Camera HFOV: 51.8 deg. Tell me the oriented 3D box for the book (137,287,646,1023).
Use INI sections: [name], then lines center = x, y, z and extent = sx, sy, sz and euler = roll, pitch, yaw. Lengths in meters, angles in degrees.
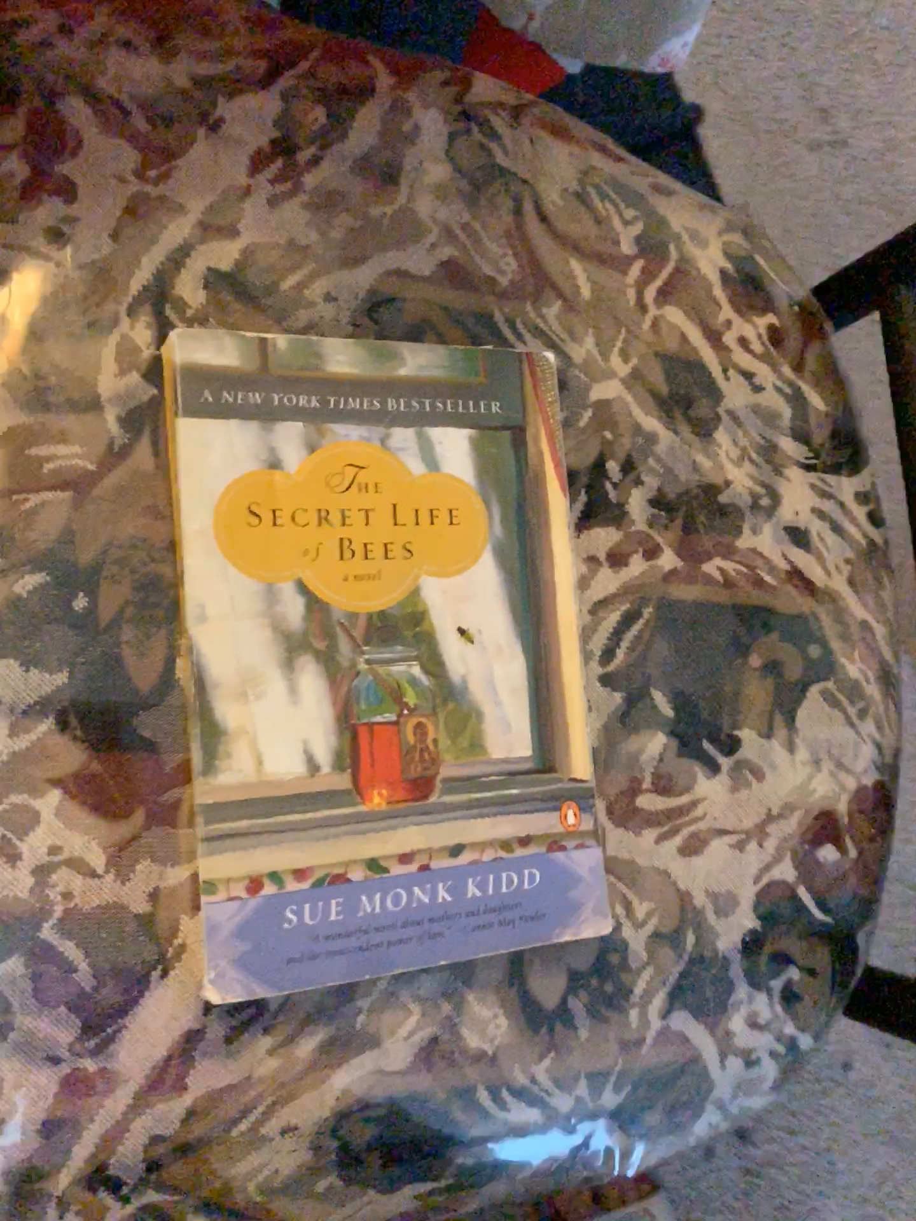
[book]
center = -0.024, 0.006, 0.307
extent = 0.140, 0.040, 0.210
euler = -3, 82, -17
